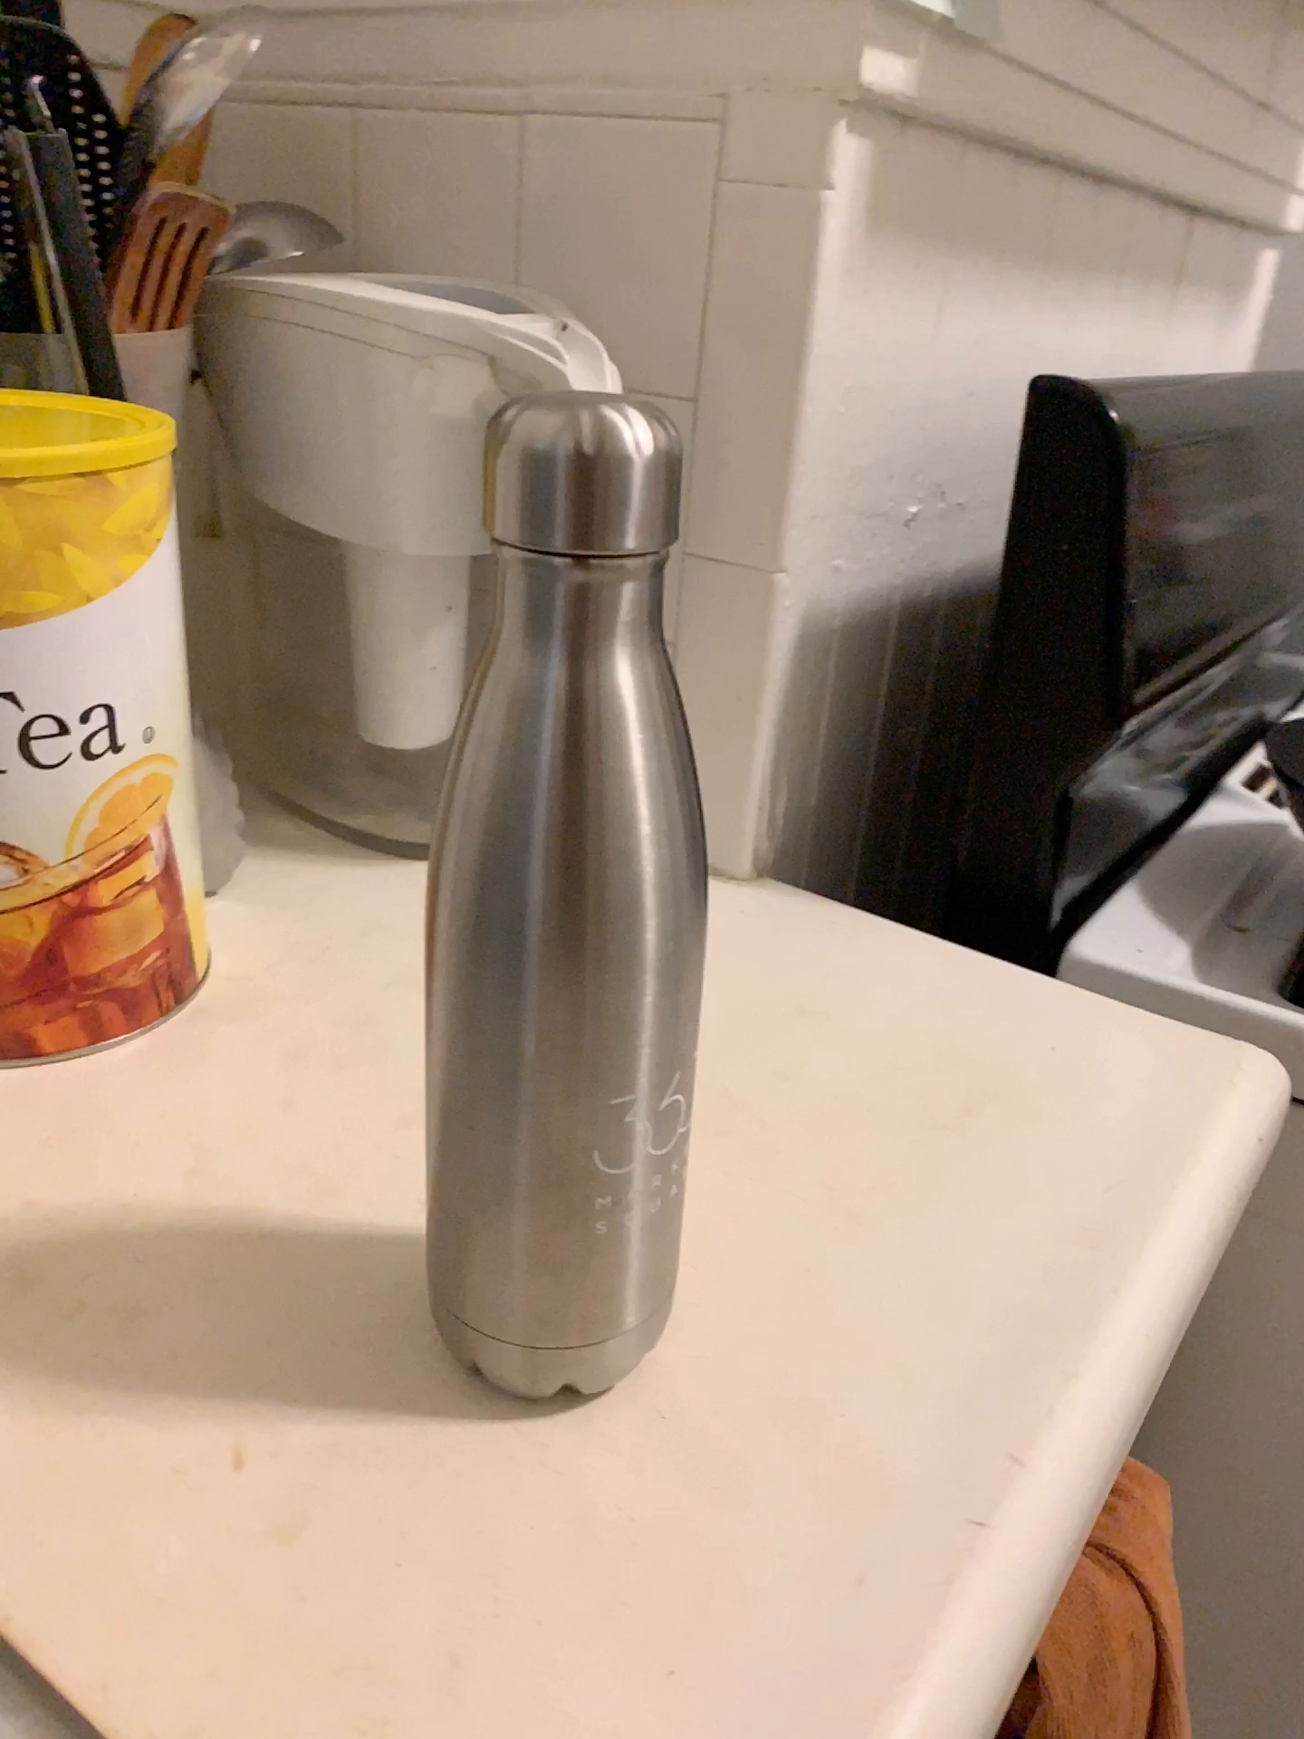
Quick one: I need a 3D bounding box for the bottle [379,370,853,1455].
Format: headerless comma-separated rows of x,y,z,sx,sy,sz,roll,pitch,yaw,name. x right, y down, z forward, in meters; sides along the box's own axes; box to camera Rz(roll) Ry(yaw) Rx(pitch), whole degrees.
-0.017,0.013,0.331,0.070,0.249,0.070,4,25,-2,bottle
